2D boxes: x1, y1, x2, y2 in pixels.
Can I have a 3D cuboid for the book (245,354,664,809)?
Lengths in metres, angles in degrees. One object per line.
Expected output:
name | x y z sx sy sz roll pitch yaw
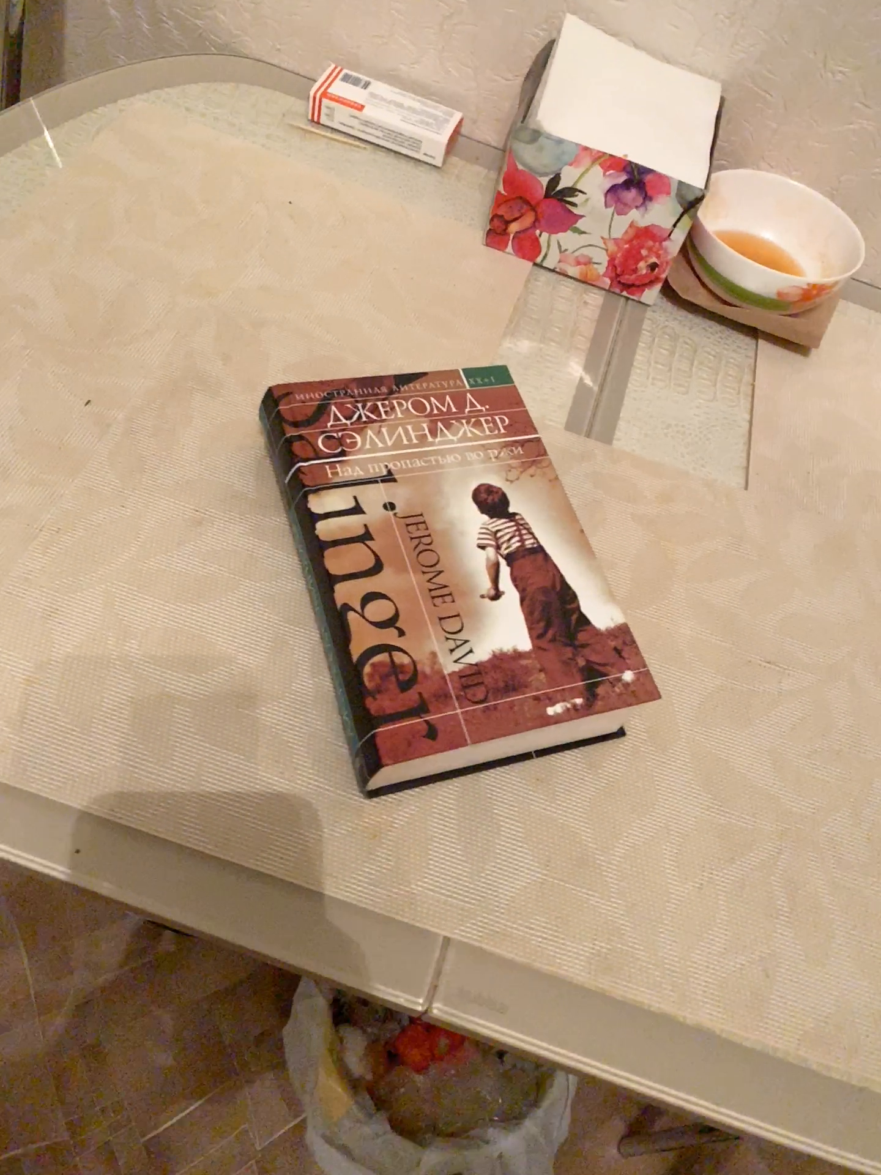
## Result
book | -0.003 -0.017 0.463 0.150 0.049 0.221 -9 62 -19
